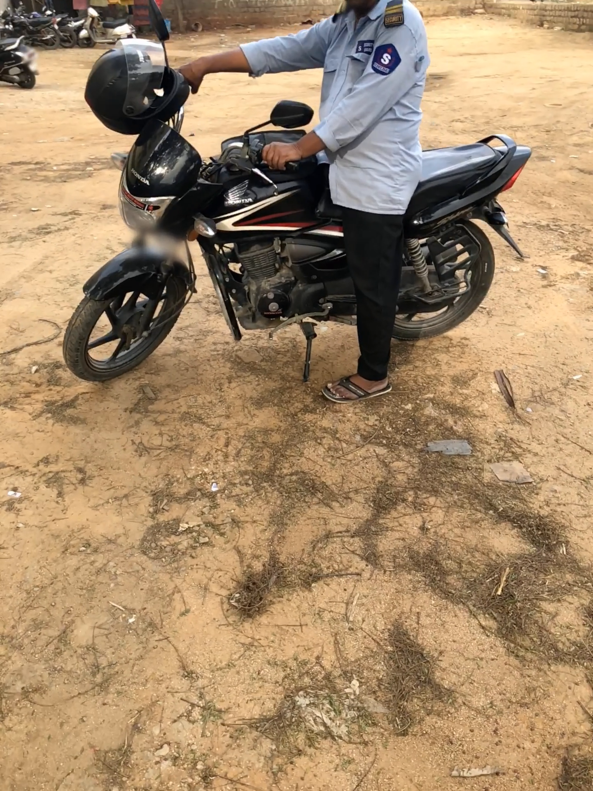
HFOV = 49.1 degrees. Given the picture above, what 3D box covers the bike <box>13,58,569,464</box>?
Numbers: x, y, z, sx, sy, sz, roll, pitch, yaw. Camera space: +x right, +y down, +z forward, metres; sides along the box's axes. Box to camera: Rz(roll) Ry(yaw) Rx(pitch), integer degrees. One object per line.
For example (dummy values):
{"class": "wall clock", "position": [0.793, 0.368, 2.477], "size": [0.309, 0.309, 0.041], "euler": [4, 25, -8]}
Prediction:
{"class": "bike", "position": [-0.050, -0.511, 2.283], "size": [1.563, 0.913, 0.672], "euler": [-12, 33, -7]}
